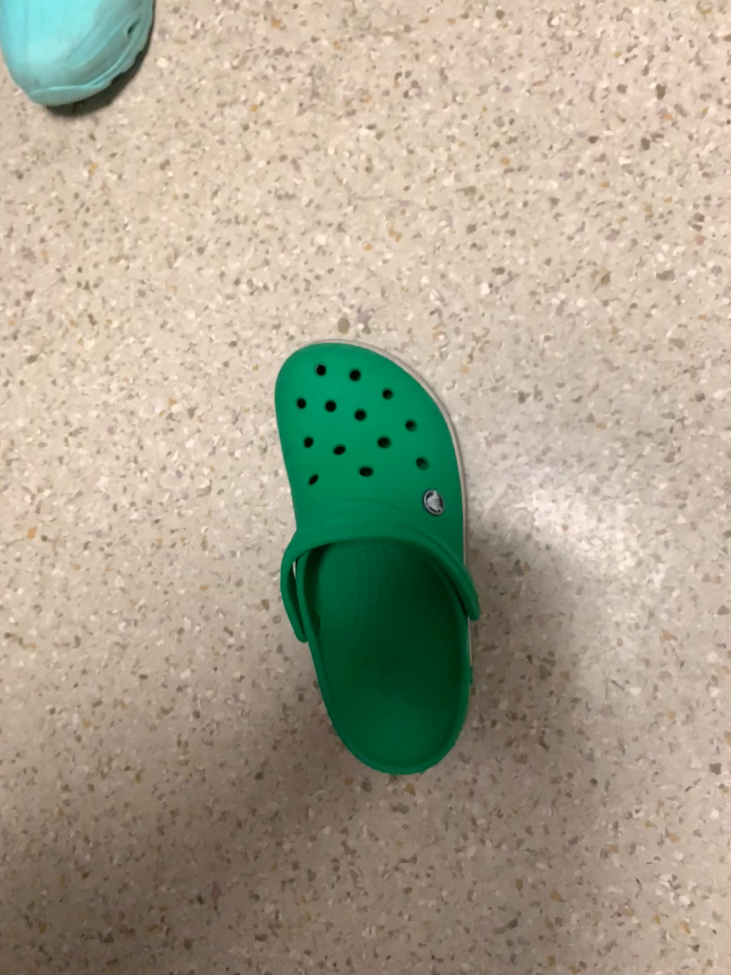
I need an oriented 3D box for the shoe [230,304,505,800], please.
[{"bbox_3d":[0.005,0.035,0.416,0.108,0.082,0.234,-8,84,12],"label":"shoe"}]
